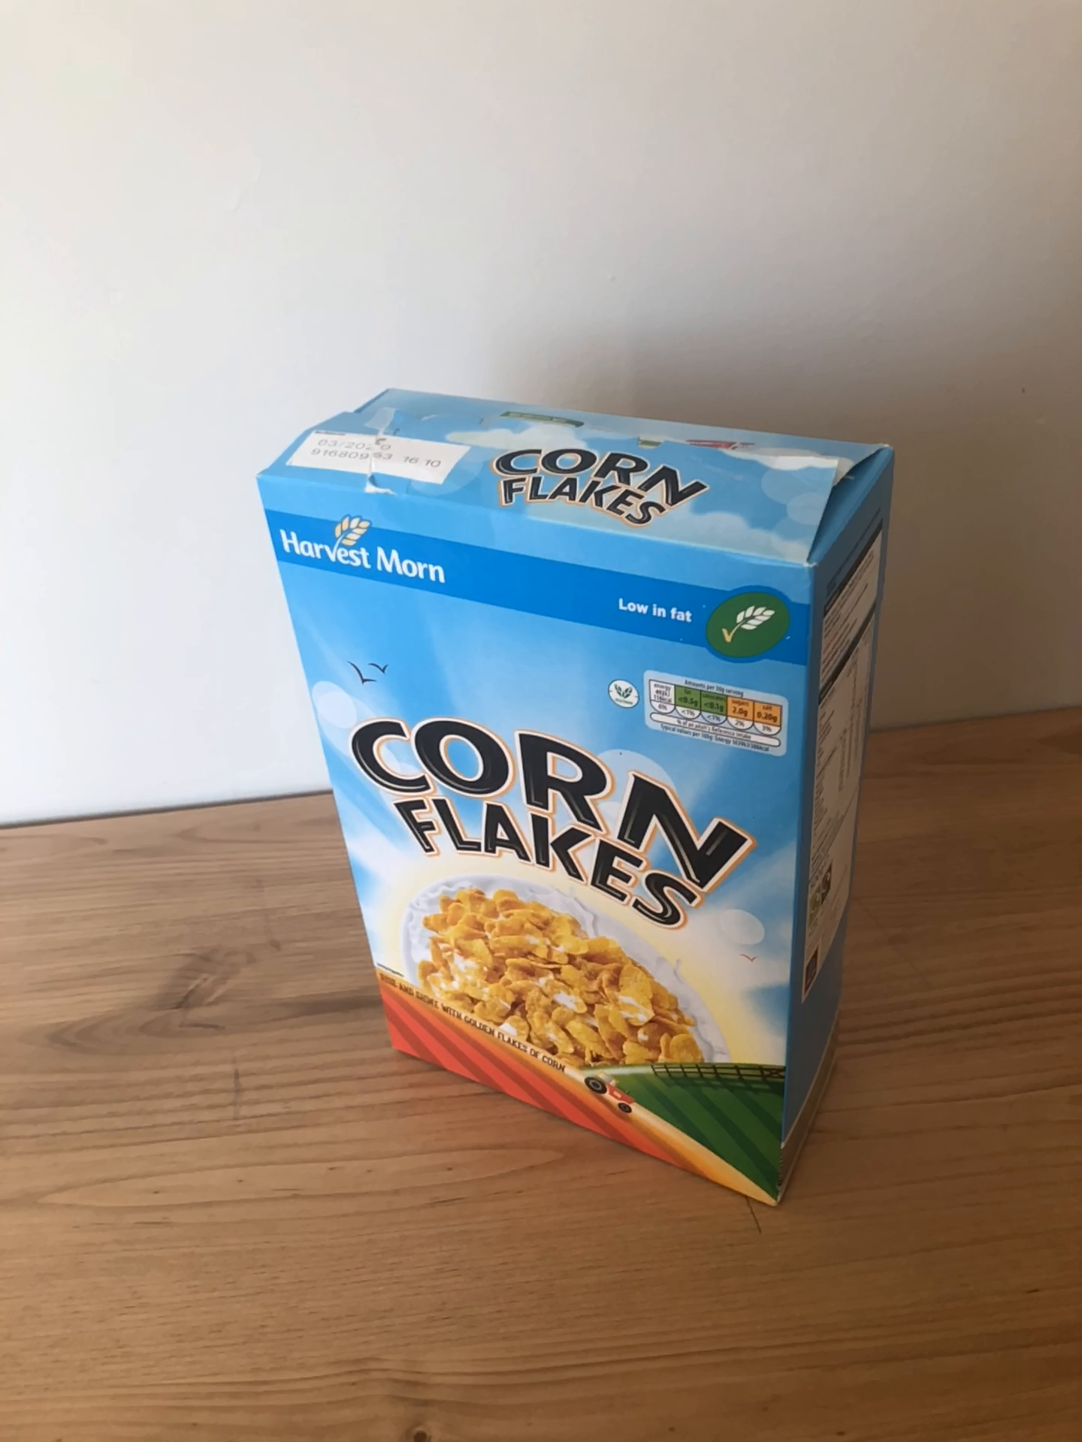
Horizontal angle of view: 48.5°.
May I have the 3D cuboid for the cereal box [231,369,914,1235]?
[{"bbox_3d":[0.018,0.038,0.465,0.200,0.308,0.080,15,41,26],"label":"cereal box"}]
